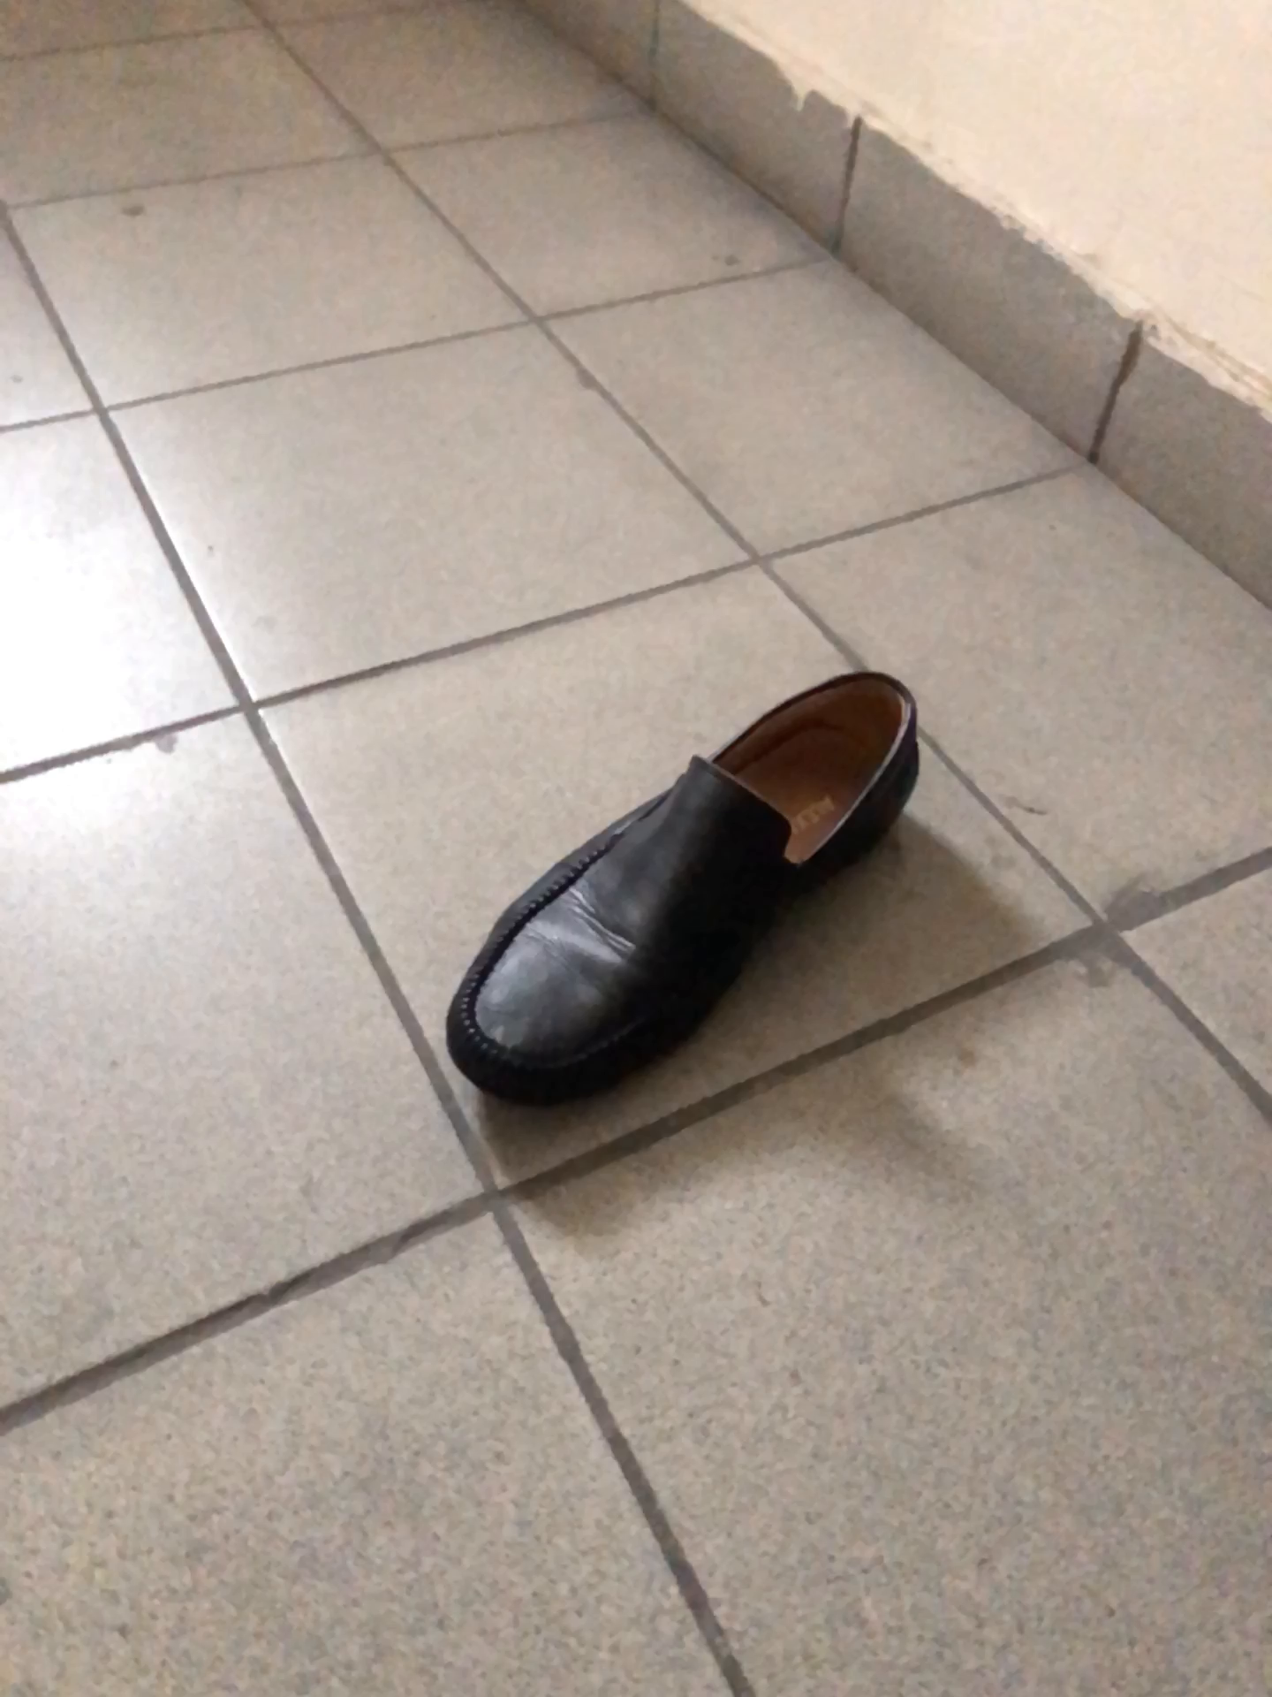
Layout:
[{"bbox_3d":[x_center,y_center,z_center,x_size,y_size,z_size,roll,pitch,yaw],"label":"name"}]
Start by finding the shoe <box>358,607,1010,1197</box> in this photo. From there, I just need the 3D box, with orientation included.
[{"bbox_3d":[0.028,0.010,0.598,0.271,0.079,0.107,-35,58,-29],"label":"shoe"}]
